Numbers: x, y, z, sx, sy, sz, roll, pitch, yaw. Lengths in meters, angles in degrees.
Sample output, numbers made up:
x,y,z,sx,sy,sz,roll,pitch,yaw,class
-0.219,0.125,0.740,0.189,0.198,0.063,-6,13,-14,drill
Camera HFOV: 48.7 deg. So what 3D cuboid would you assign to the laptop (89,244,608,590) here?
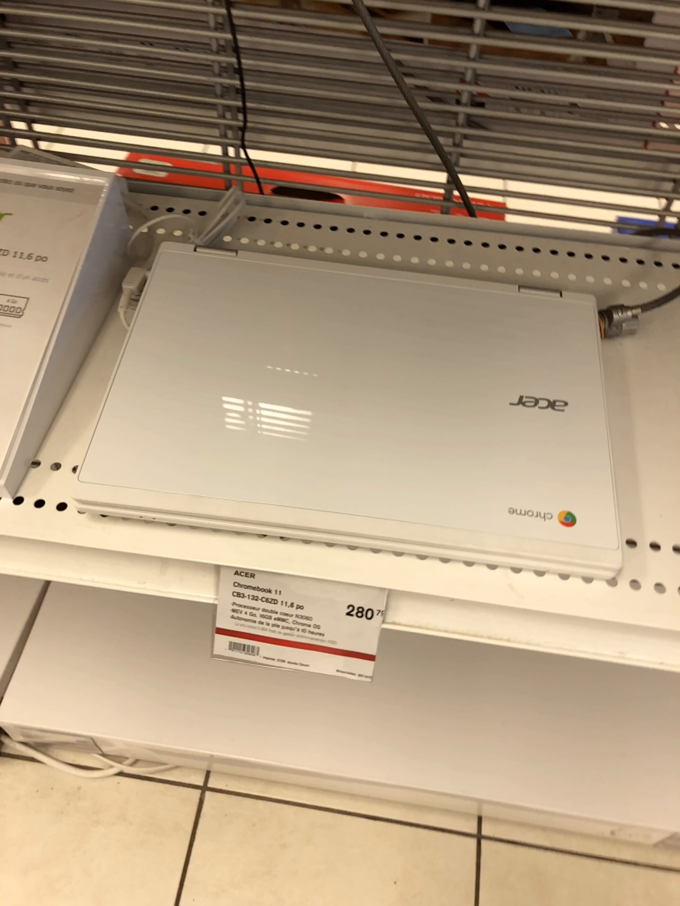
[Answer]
x,y,z,sx,sy,sz,roll,pitch,yaw,class
0.012,-0.031,0.461,0.286,0.024,0.184,8,62,3,laptop
